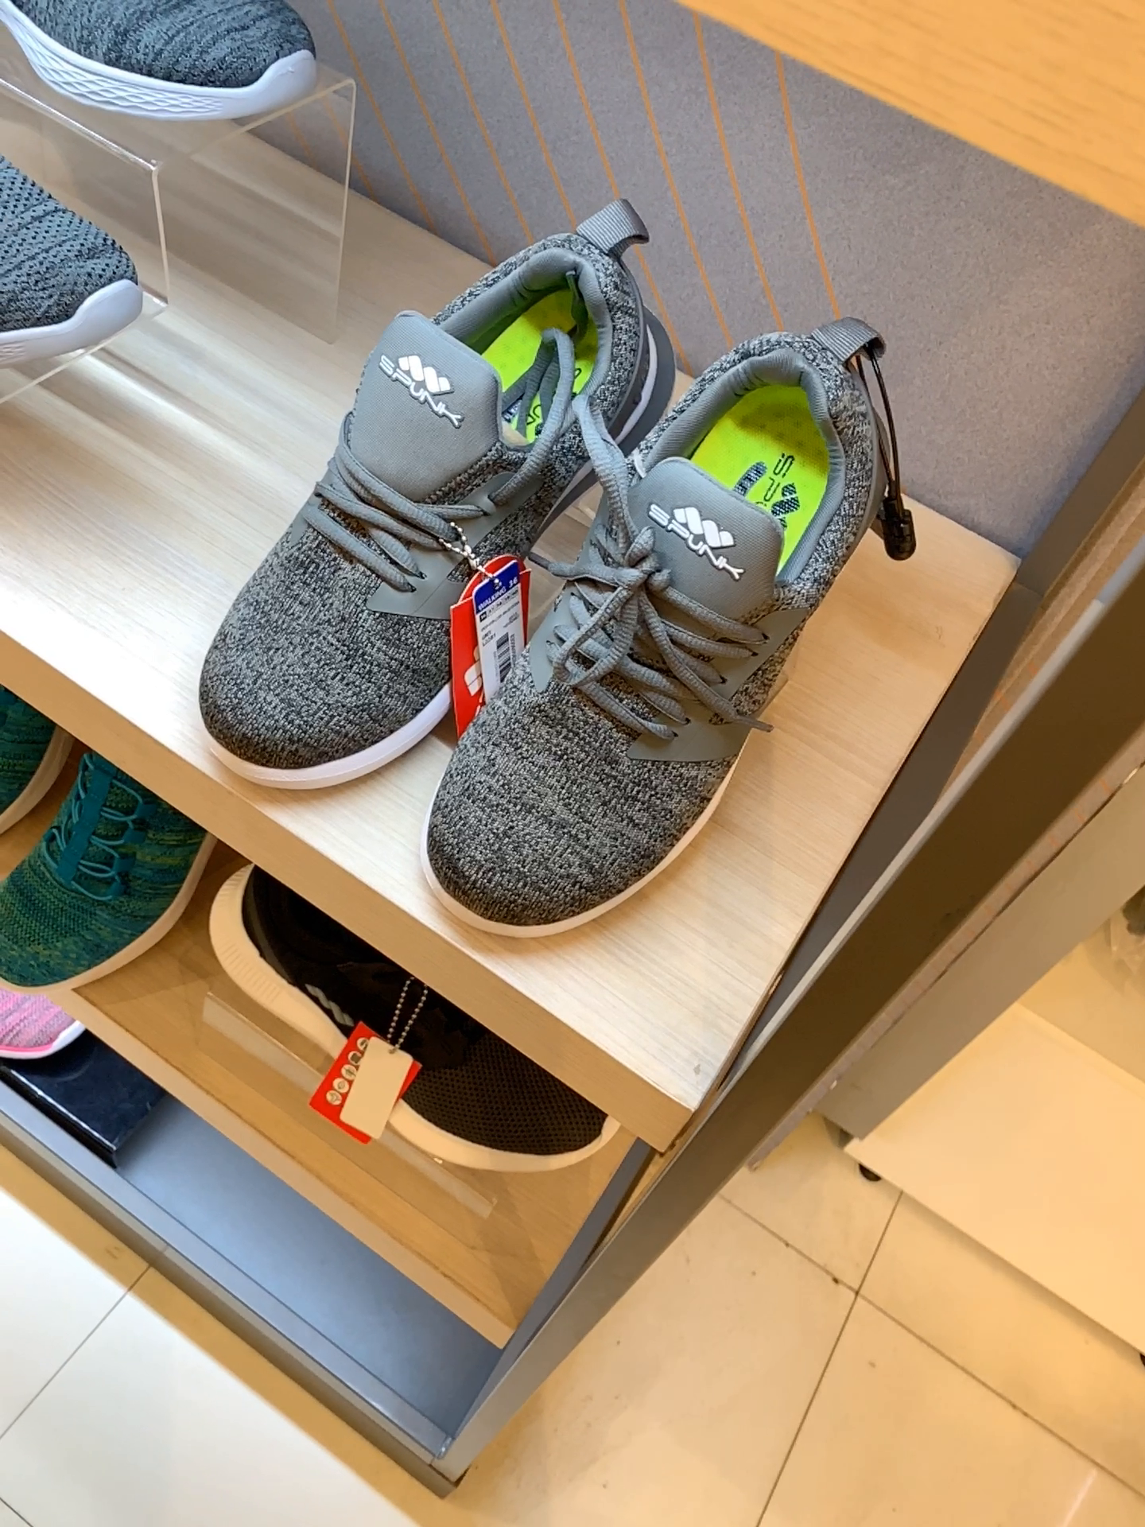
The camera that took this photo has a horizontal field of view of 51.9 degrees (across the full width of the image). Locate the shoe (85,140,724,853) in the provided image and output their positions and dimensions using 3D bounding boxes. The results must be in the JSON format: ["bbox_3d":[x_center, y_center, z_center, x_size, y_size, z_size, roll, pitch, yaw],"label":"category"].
[{"bbox_3d":[-0.051,-0.092,0.429,0.080,0.080,0.240,37,85,15],"label":"shoe"}]

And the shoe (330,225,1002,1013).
[{"bbox_3d":[0.033,-0.044,0.406,0.090,0.080,0.240,34,88,10],"label":"shoe"}]
